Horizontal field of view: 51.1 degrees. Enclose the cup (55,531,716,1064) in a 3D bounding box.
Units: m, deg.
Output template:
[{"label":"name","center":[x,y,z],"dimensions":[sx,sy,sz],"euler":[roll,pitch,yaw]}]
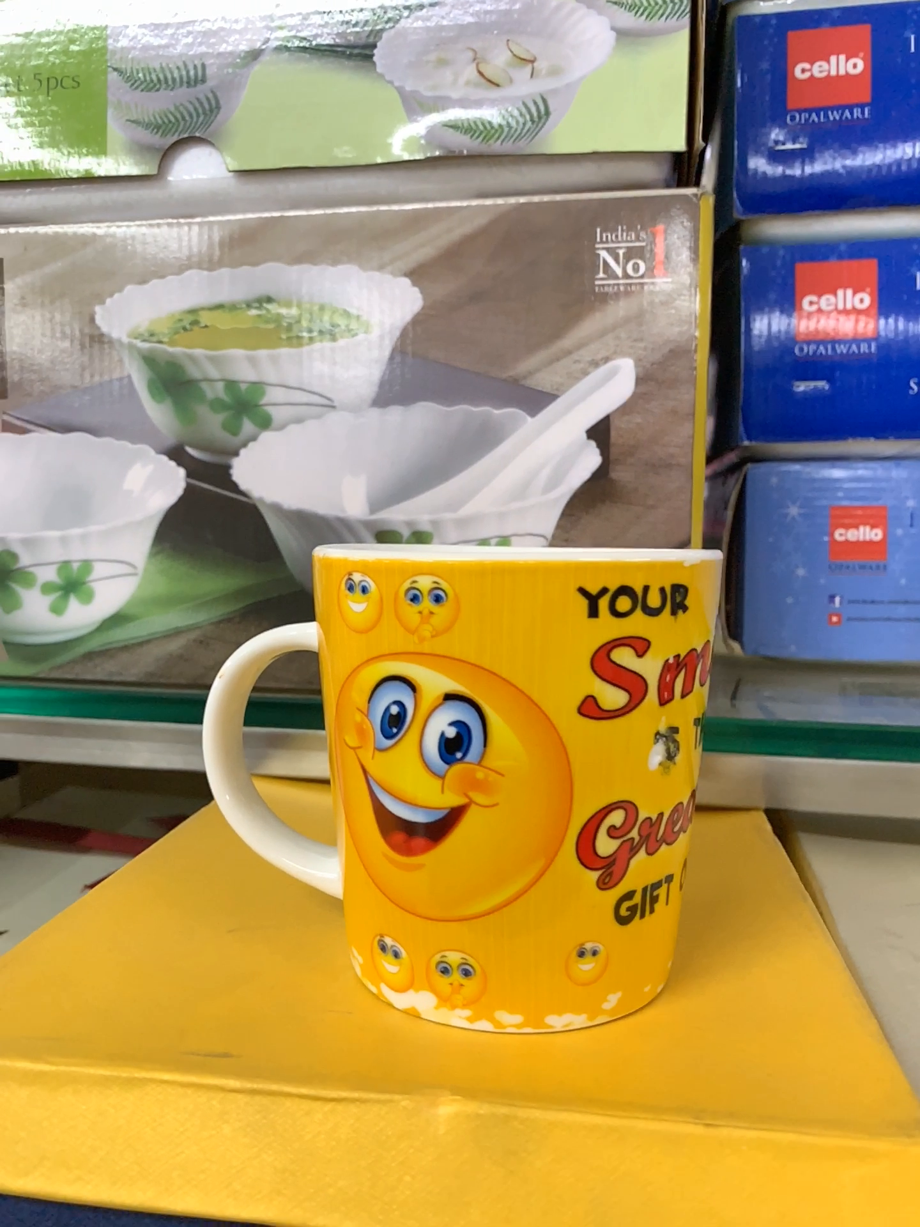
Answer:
[{"label":"cup","center":[-0.010,0.026,0.203],"dimensions":[0.118,0.081,0.072],"euler":[3,6,17]}]
